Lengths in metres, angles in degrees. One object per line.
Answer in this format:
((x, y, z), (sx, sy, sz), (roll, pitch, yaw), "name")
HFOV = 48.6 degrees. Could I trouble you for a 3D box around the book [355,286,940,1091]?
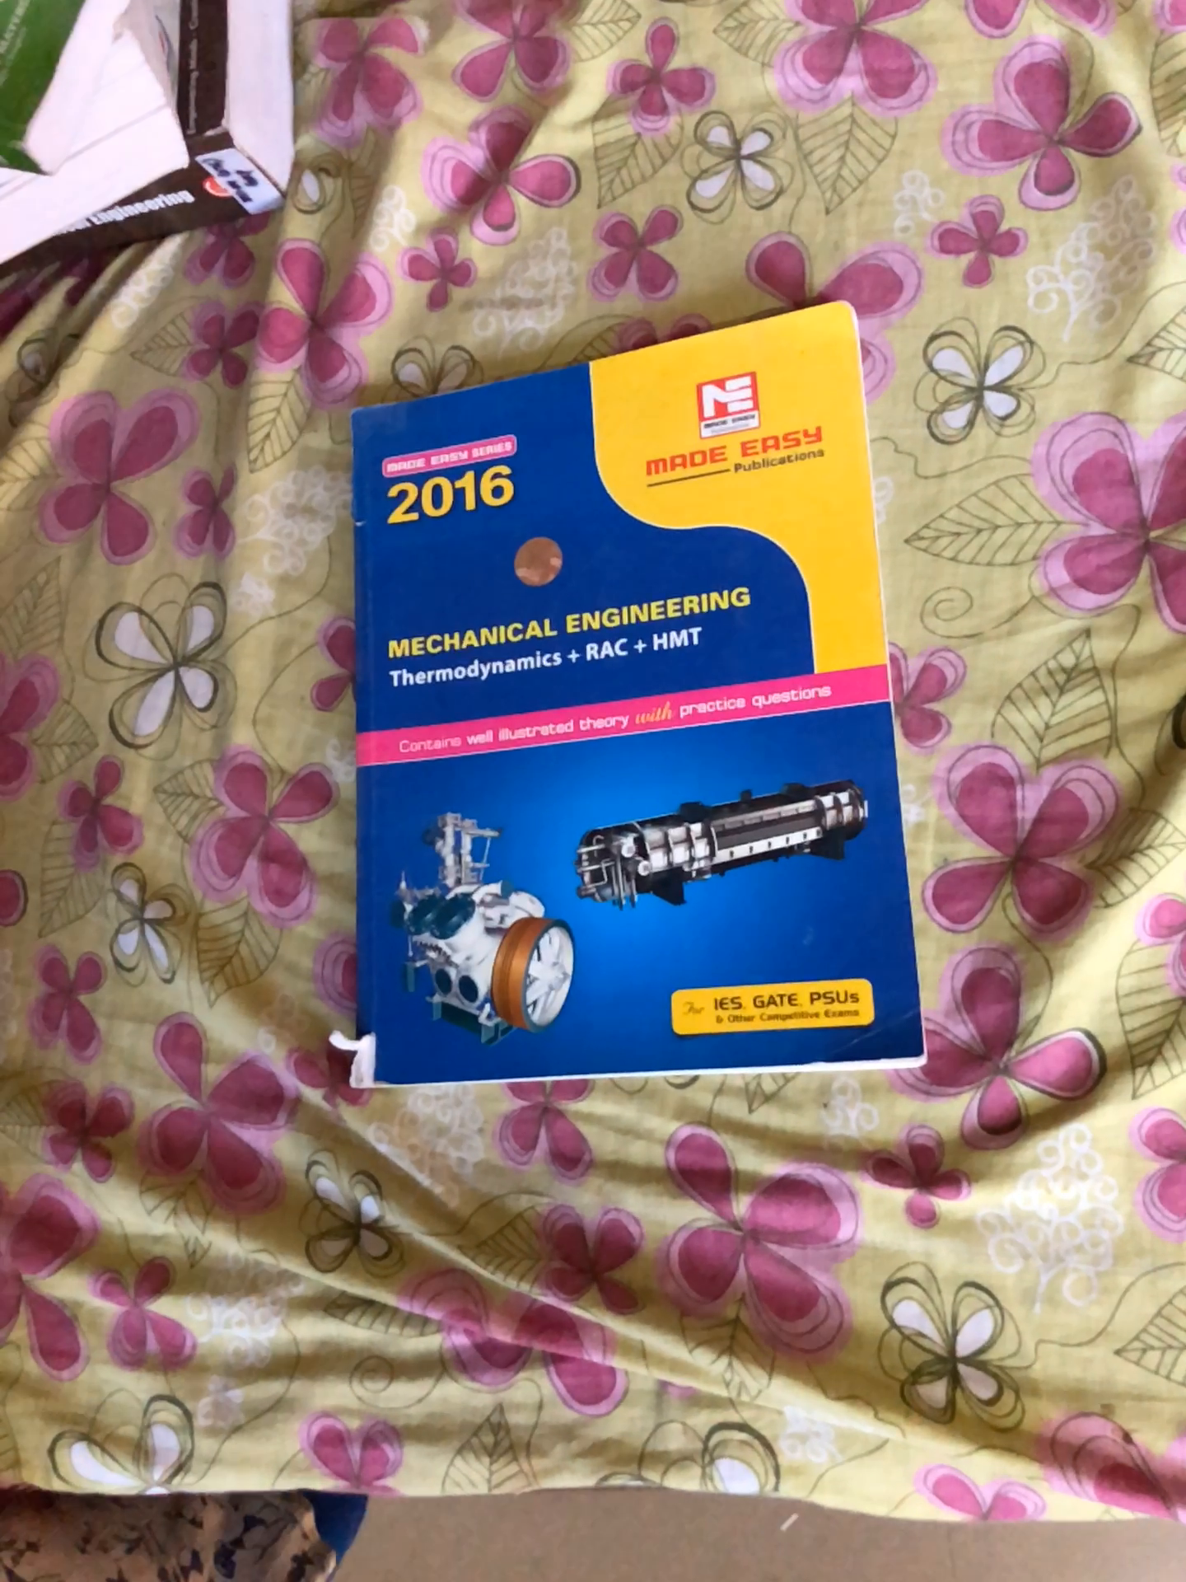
((0.010, -0.032, 0.484), (0.200, 0.030, 0.269), (-7, 77, 20), "book")
